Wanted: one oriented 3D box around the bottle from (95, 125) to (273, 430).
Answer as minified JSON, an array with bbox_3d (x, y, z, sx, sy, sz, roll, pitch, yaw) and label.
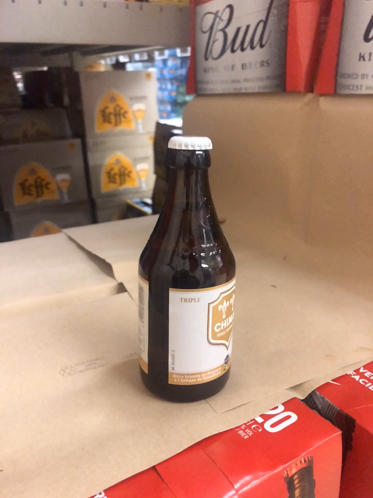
[{"bbox_3d":[-0.001,0.010,0.271,0.070,0.169,0.080,15,23,36],"label":"bottle"}]
